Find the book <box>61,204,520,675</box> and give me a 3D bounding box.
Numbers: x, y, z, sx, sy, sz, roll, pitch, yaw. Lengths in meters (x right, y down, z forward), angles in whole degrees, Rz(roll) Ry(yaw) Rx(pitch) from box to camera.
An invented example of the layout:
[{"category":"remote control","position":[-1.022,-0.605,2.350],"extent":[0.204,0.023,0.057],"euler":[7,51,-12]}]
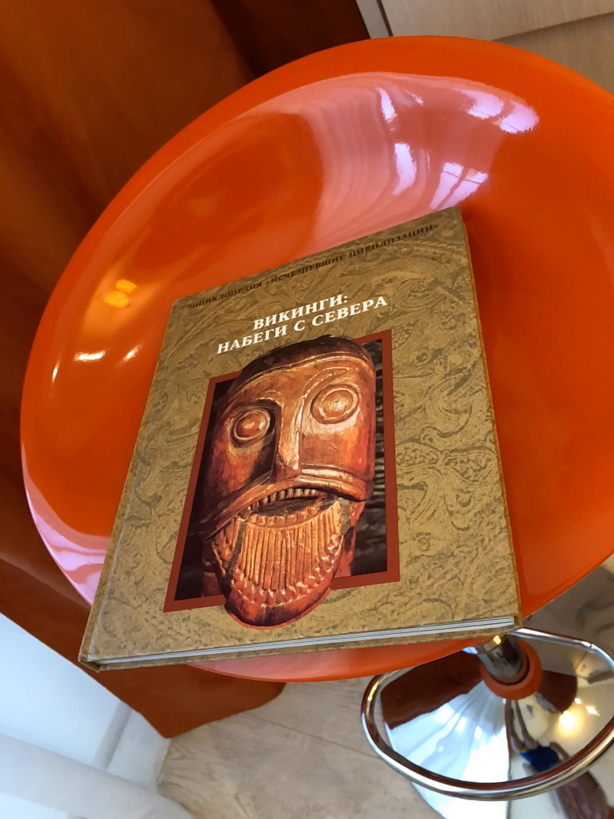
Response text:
[{"category":"book","position":[-0.009,0.005,0.381],"extent":[0.216,0.022,0.261],"euler":[-13,48,22]}]
